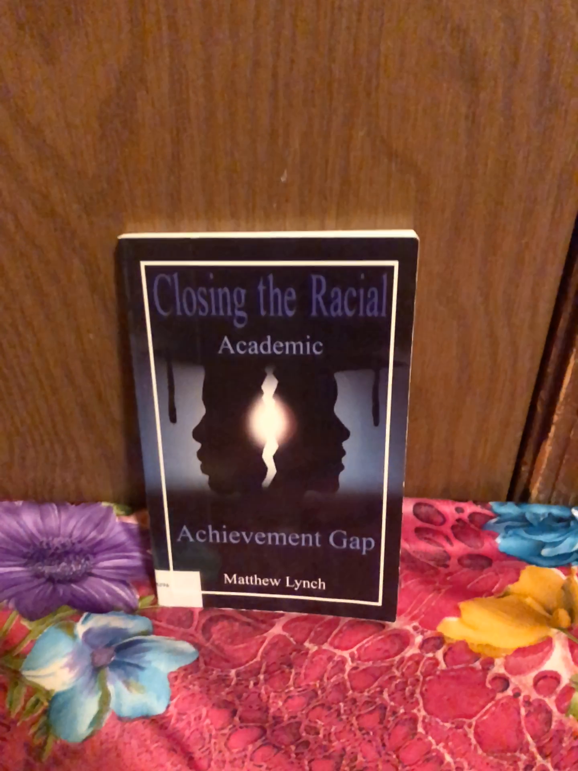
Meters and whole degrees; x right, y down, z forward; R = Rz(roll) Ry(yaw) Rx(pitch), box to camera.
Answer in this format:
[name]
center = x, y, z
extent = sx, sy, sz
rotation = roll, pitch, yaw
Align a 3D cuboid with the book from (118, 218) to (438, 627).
[book]
center = -0.004, 0.028, 0.352
extent = 0.146, 0.230, 0.036
rotation = 1, 24, 4
